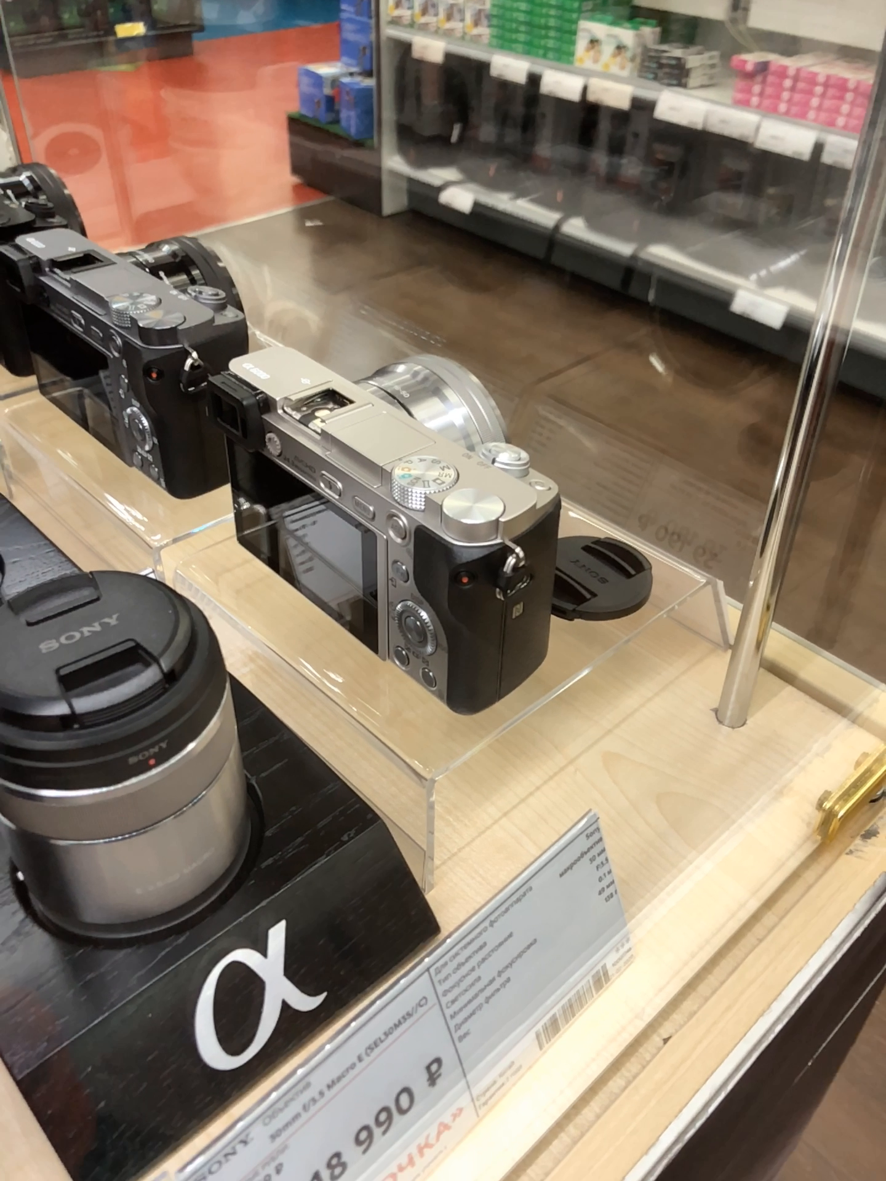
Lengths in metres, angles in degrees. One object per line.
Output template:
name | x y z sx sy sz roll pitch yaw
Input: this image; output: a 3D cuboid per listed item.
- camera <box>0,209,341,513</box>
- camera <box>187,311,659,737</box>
camera | -0.111 -0.098 0.393 0.076 0.061 0.128 -28 47 -32
camera | -0.010 -0.029 0.306 0.076 0.061 0.124 -28 47 -32
